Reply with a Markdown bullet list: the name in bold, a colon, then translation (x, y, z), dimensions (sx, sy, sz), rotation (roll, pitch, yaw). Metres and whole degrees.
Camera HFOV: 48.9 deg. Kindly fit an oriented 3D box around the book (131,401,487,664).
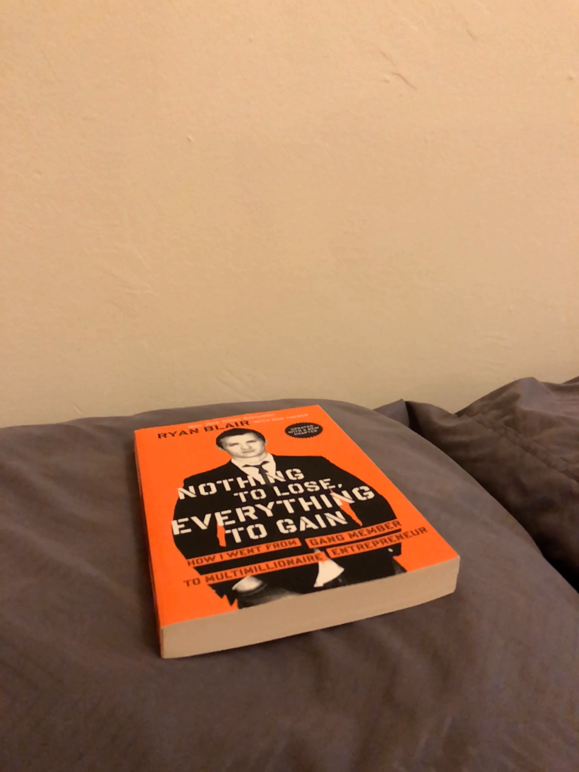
- **book**: translation (-0.012, 0.063, 0.383), dimensions (0.150, 0.020, 0.231), rotation (-4, 19, -15)
